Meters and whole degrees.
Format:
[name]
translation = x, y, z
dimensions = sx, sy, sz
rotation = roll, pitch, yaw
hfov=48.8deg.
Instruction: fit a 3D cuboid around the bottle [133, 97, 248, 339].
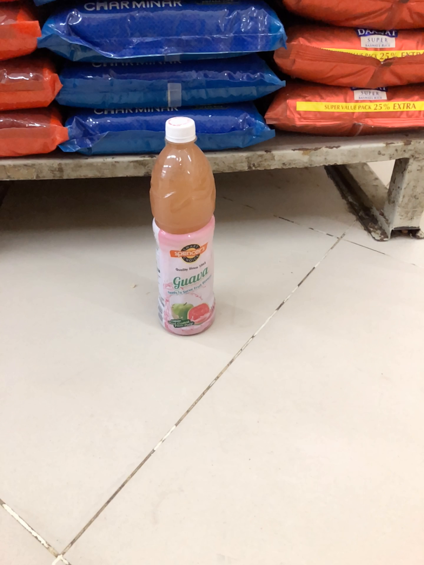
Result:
[bottle]
translation = -0.022, -0.065, 0.548
dimensions = 0.090, 0.258, 0.090
rotation = -1, 41, 1
